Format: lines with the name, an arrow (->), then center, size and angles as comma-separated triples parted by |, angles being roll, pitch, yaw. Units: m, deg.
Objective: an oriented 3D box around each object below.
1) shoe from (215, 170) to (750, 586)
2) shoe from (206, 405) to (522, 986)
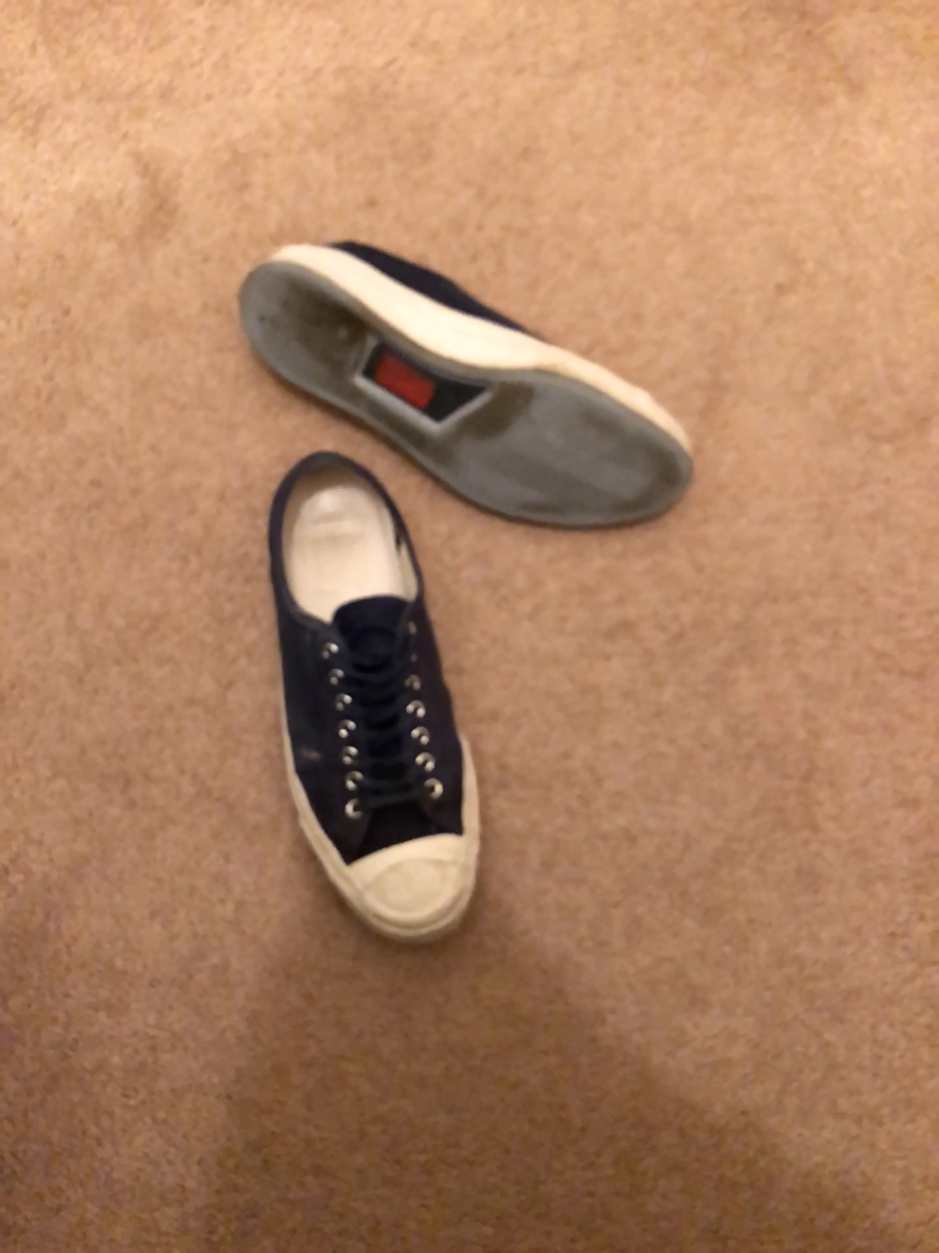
shoe -> 0.004, -0.151, 0.643 | 0.296, 0.104, 0.099 | 25, 52, 2
shoe -> -0.059, 0.037, 0.595 | 0.116, 0.099, 0.286 | -11, 80, -3
